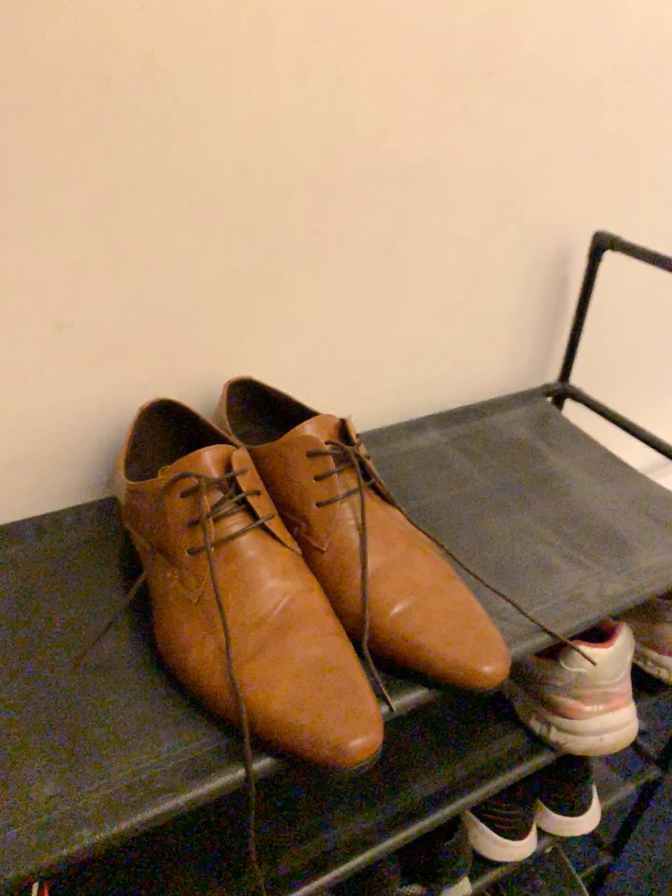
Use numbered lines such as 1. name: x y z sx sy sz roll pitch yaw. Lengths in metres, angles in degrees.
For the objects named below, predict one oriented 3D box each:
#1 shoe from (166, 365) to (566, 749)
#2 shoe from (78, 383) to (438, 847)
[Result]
1. shoe: -0.001 0.051 0.503 0.100 0.099 0.301 -22 39 -34
2. shoe: -0.072 0.074 0.454 0.100 0.099 0.302 -16 36 -27
